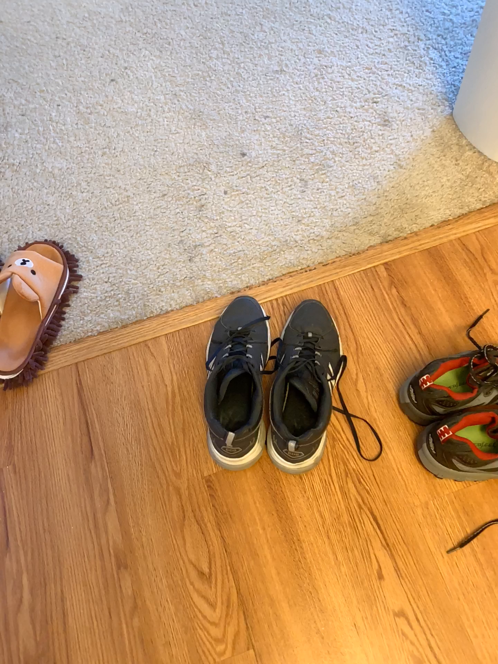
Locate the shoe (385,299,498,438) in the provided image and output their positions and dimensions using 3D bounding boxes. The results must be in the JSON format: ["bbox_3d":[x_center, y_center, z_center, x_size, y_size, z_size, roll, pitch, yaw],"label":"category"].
[{"bbox_3d":[0.396,0.064,0.810,0.300,0.170,0.120,-9,64,-2],"label":"shoe"}]

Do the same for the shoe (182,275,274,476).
[{"bbox_3d":[-0.024,0.069,0.851,0.130,0.120,0.311,0,64,3],"label":"shoe"}]

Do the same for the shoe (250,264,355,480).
[{"bbox_3d":[0.087,0.061,0.803,0.120,0.130,0.301,7,65,6],"label":"shoe"}]

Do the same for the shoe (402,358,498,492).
[{"bbox_3d":[0.429,0.151,0.785,0.320,0.180,0.140,-4,64,1],"label":"shoe"}]
